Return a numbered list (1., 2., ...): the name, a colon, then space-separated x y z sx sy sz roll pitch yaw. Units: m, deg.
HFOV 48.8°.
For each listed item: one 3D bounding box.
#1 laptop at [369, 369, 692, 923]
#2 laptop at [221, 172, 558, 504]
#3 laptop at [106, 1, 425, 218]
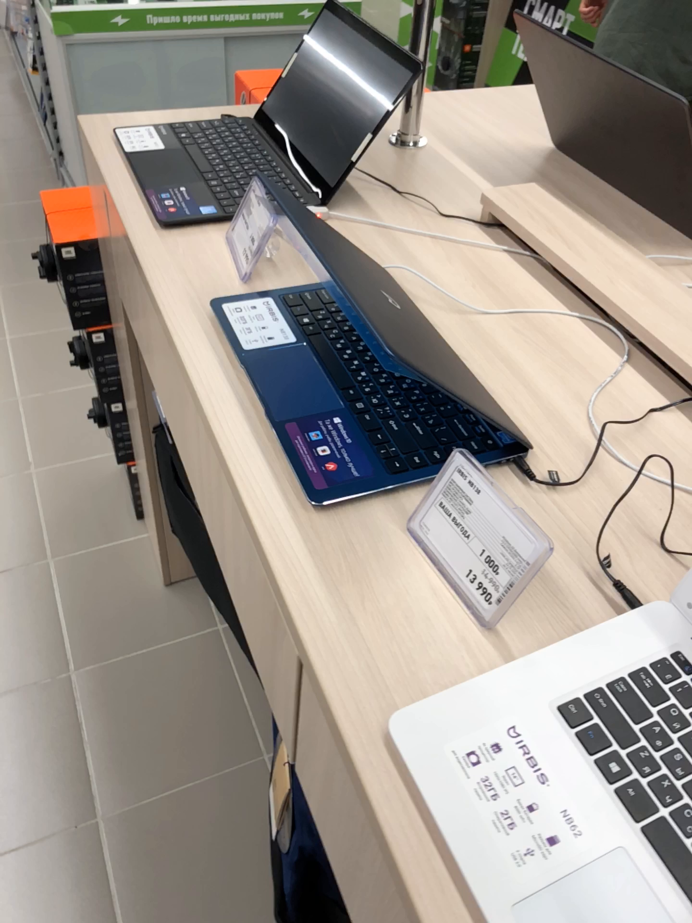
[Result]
1. laptop: 0.242 0.154 0.340 0.302 0.212 0.341 -13 44 -18
2. laptop: 0.017 -0.134 0.710 0.189 0.124 0.310 -14 45 -16
3. laptop: -0.120 -0.490 1.039 0.323 0.165 0.295 -12 46 -17
